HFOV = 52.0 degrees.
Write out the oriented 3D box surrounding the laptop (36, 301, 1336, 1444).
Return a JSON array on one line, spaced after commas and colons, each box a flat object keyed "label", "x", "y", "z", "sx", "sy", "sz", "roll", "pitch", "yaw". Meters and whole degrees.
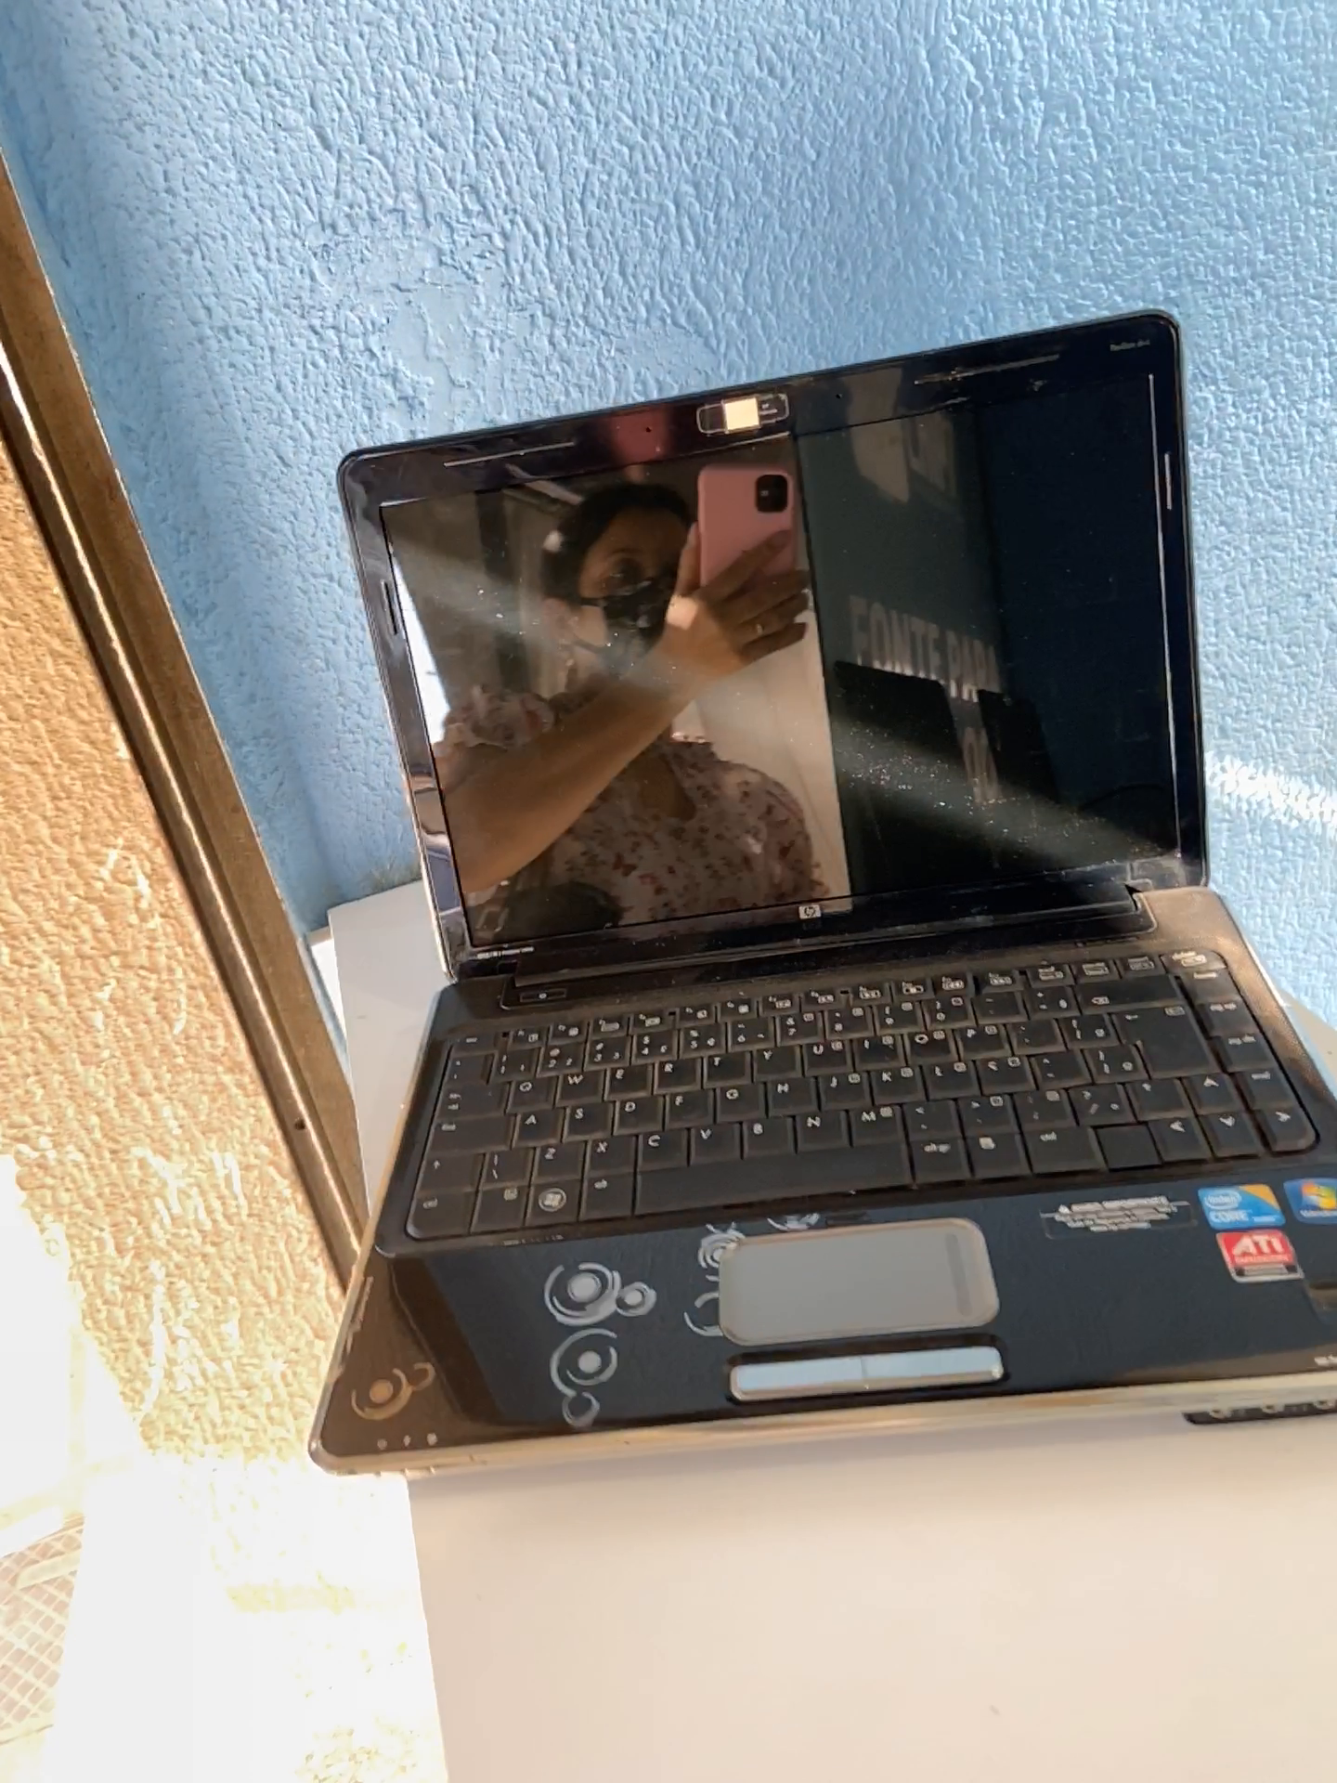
[{"label": "laptop", "x": 0.042, "y": -0.030, "z": 0.458, "sx": 0.321, "sy": 0.210, "sz": 0.303, "roll": -7, "pitch": 31, "yaw": 6}]
